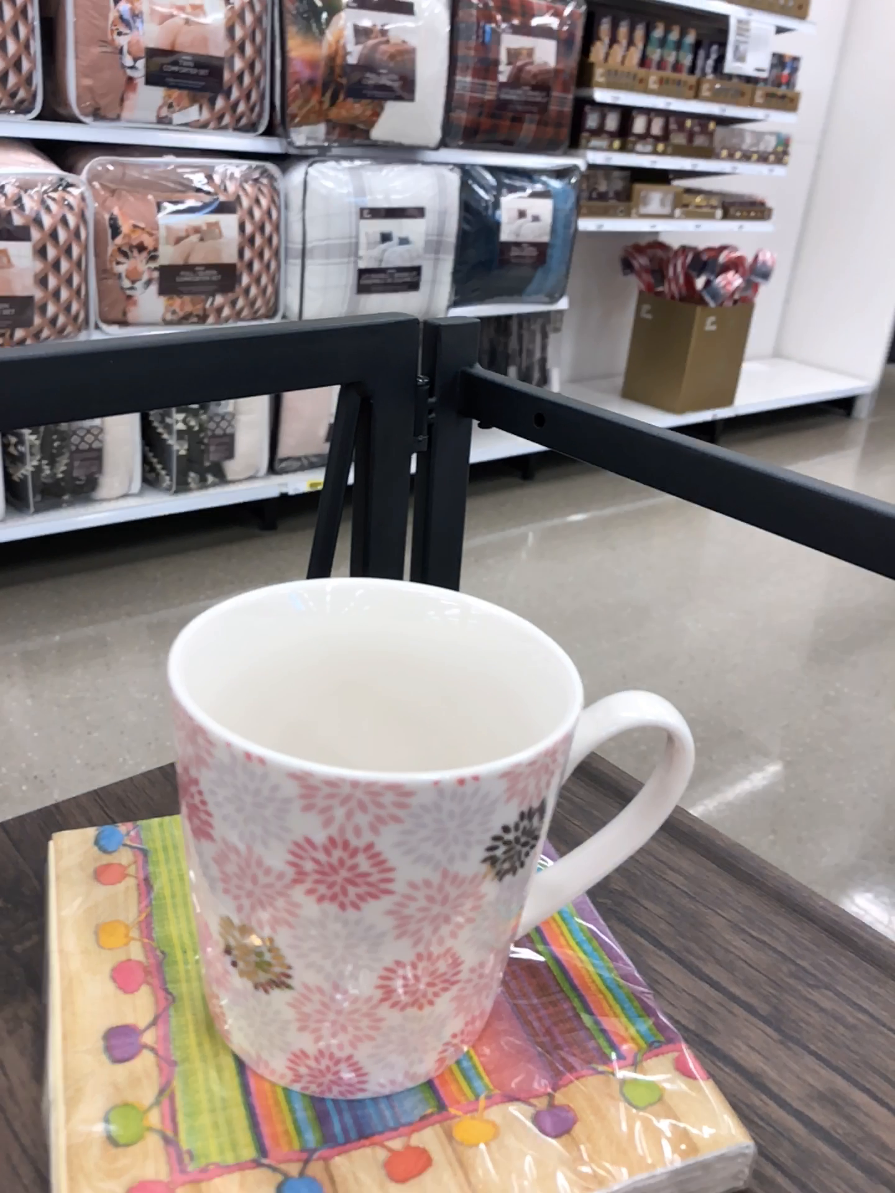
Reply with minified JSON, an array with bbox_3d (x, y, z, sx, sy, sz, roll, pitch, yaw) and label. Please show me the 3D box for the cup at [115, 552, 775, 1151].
[{"bbox_3d":[-0.011,0.056,0.267,0.140,0.100,0.100,-3,27,-16],"label":"cup"}]
